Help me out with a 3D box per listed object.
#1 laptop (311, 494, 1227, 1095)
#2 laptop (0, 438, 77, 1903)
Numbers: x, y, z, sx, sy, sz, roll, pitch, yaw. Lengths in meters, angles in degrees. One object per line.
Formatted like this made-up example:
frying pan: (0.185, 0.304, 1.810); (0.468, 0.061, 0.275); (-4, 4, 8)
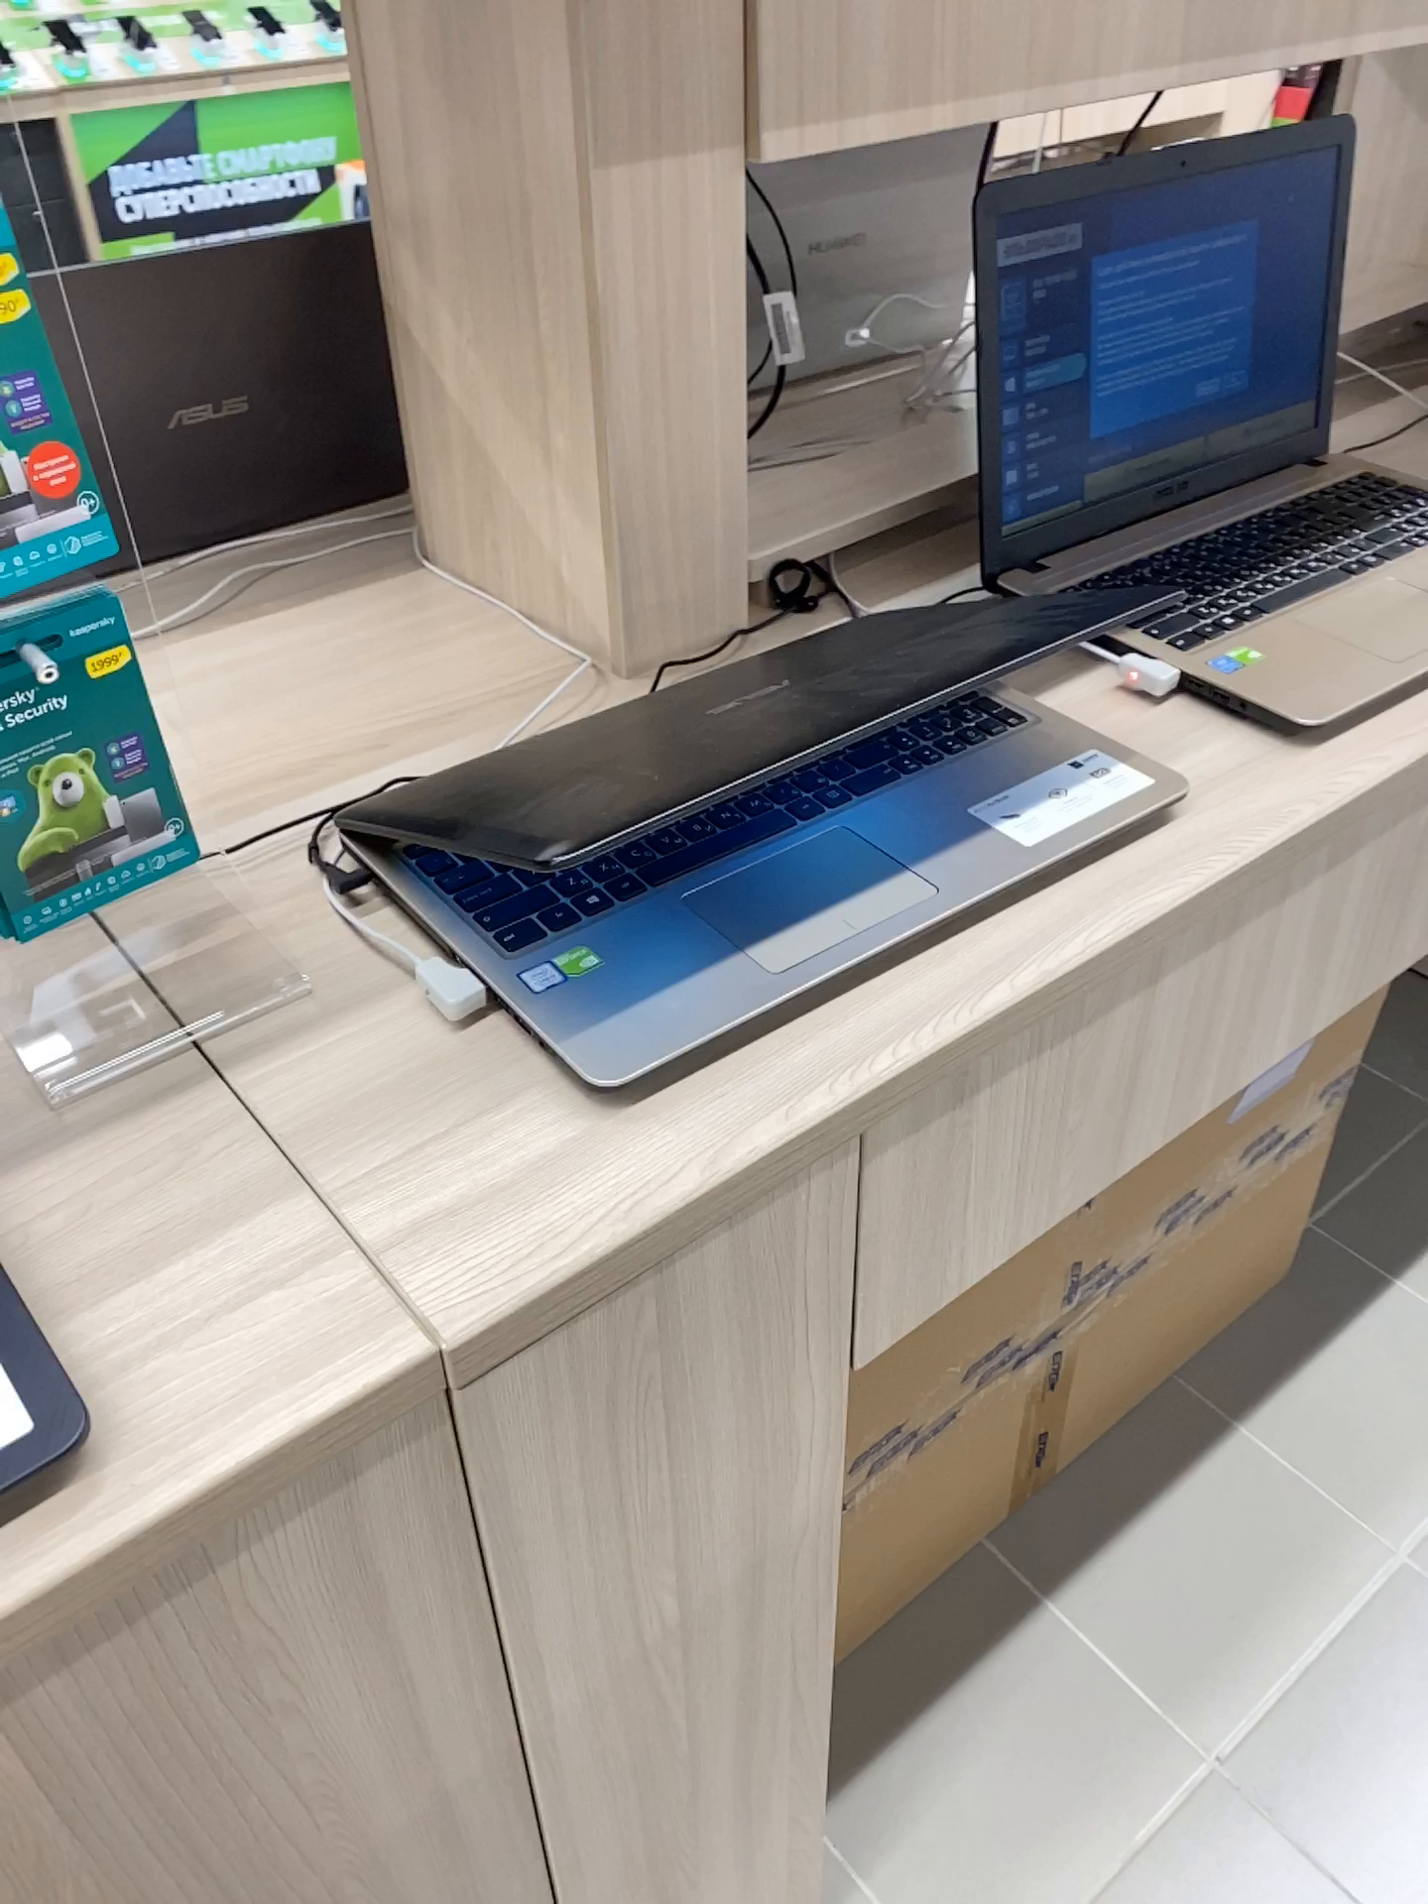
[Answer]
laptop: (0.033, -0.109, 0.738); (0.382, 0.094, 0.241); (-25, 44, -29)
laptop: (-0.465, 0.069, 0.391); (0.421, 0.235, 0.319); (-27, 44, -29)
